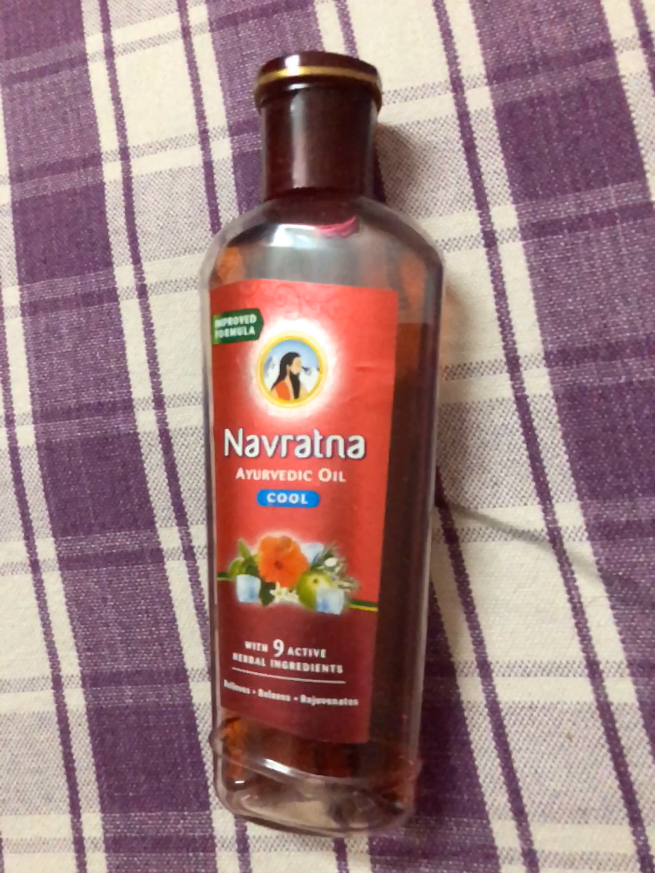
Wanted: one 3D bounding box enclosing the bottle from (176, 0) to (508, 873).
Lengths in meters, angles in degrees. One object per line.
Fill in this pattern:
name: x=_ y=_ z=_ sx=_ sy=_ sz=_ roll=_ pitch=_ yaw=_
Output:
bottle: x=0.007 y=-0.010 z=0.187 sx=0.070 sy=0.050 sz=0.200 roll=-1 pitch=85 yaw=18
